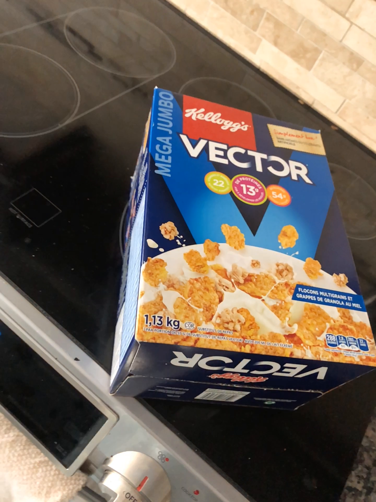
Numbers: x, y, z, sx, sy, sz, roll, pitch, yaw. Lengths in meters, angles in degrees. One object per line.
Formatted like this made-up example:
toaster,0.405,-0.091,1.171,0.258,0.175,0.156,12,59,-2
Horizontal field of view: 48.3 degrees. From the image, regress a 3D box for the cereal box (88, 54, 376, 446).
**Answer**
cereal box,0.045,0.008,0.416,0.220,0.170,0.310,11,58,-14
